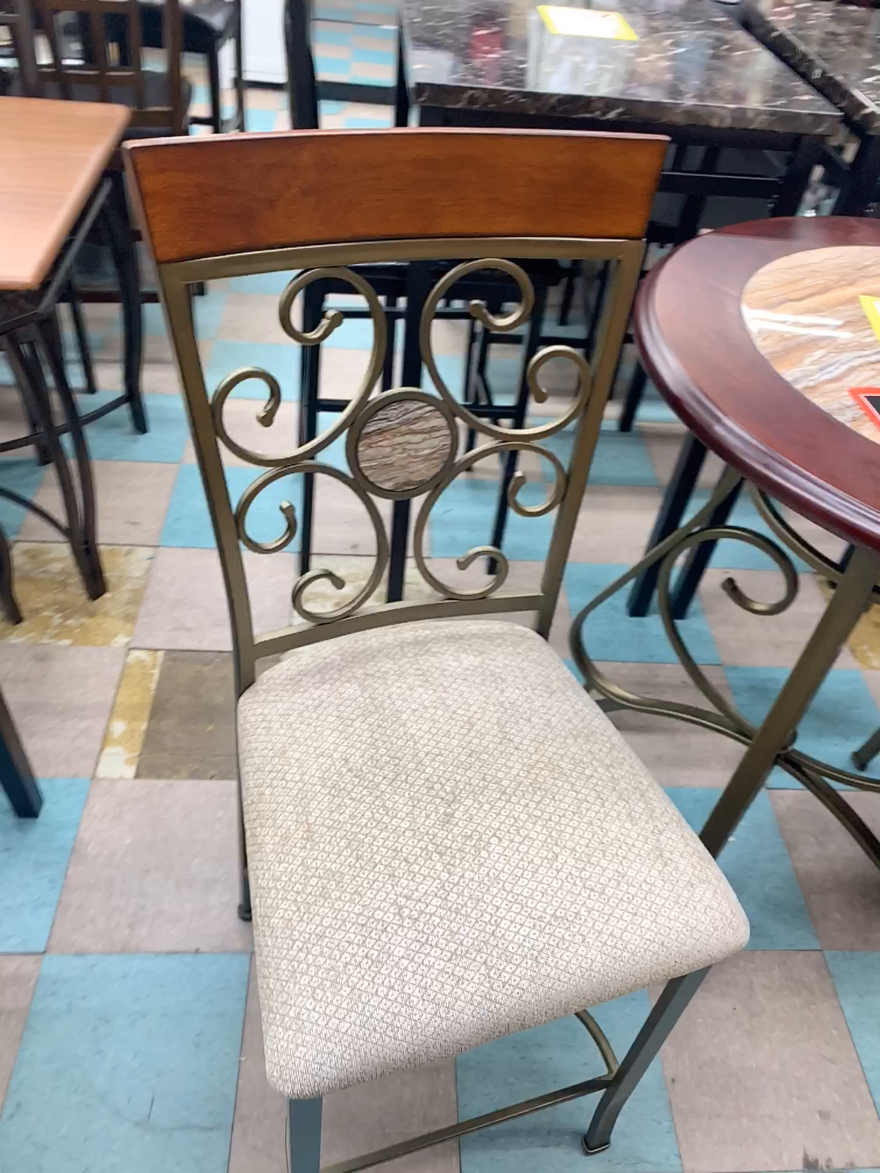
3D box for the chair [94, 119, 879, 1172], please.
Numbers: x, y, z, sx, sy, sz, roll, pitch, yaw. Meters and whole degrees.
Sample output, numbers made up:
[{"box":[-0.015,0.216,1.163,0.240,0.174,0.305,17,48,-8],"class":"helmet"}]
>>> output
[{"box":[0.013,0.195,0.920,0.510,1.074,0.562,-8,46,-16],"class":"chair"}]
